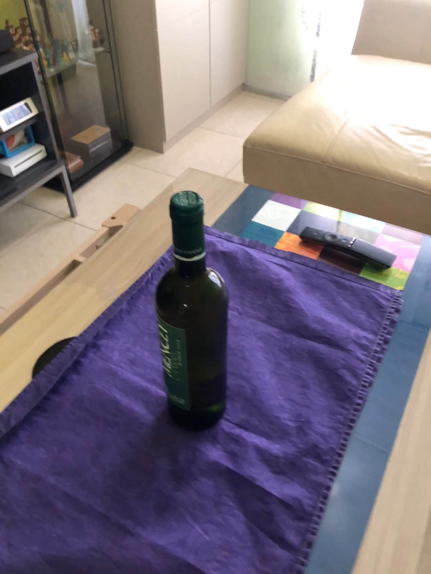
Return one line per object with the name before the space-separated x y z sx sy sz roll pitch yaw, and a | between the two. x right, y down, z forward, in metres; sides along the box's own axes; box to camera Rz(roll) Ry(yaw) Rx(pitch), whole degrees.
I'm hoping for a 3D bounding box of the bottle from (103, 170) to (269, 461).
bottle | -0.023 0.041 0.453 0.090 0.269 0.090 0 44 0
